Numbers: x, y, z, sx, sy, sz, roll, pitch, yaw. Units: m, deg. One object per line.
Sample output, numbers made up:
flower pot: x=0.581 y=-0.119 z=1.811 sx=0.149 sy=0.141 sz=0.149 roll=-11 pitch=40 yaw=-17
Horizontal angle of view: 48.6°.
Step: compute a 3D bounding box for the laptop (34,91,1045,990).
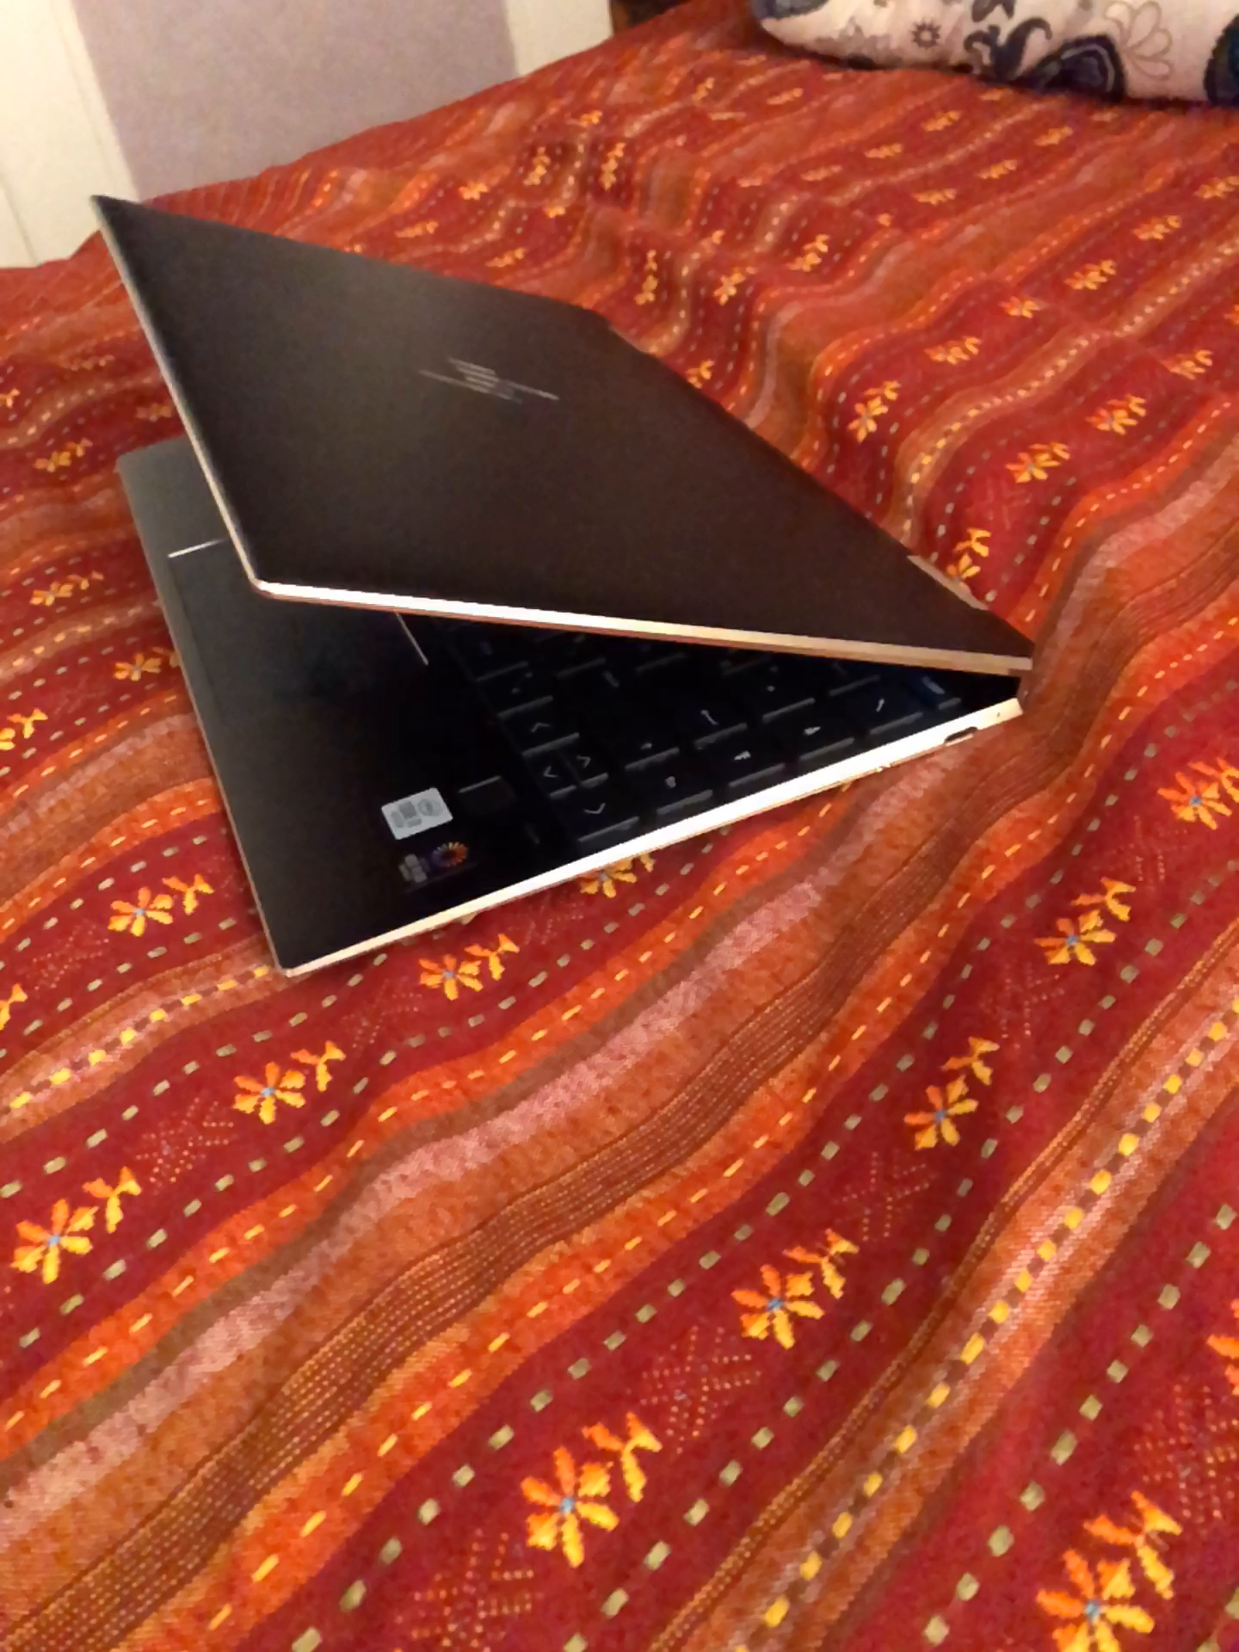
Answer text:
laptop: x=-0.049 y=-0.128 z=0.410 sx=0.203 sy=0.101 sz=0.327 roll=-18 pitch=38 yaw=-15
